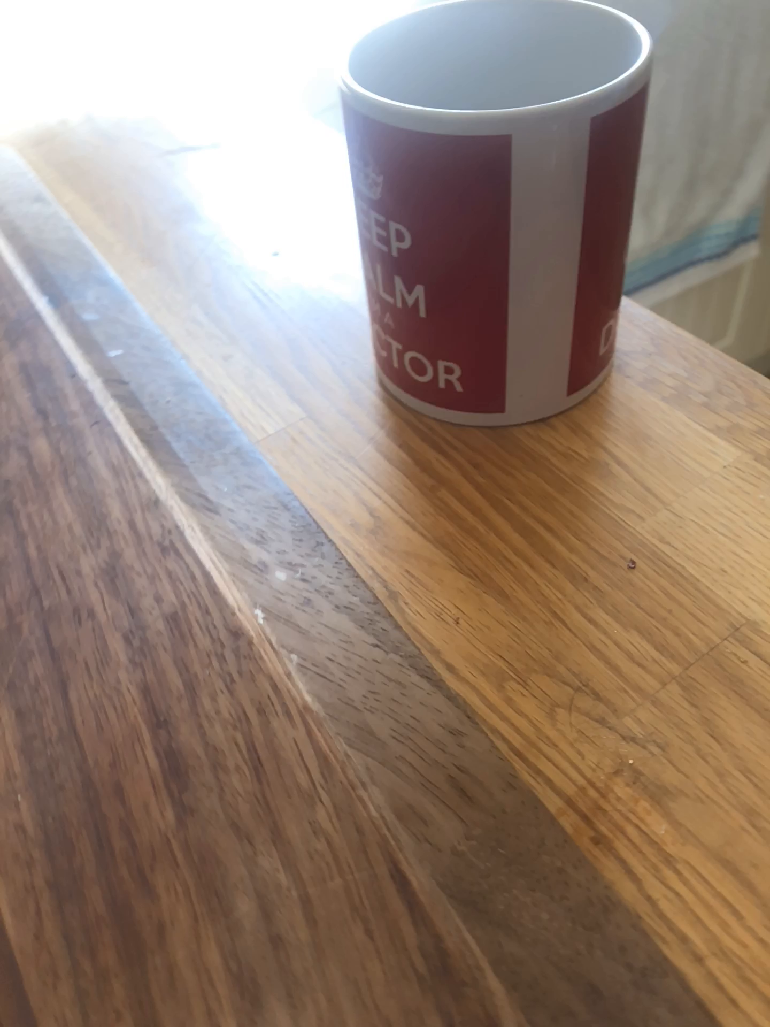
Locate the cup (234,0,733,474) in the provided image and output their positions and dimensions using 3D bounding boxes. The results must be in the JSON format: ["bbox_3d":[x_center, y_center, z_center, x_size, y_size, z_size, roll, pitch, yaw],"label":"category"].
[{"bbox_3d":[0.024,-0.100,0.271,0.089,0.094,0.124,-23,49,-11],"label":"cup"}]
